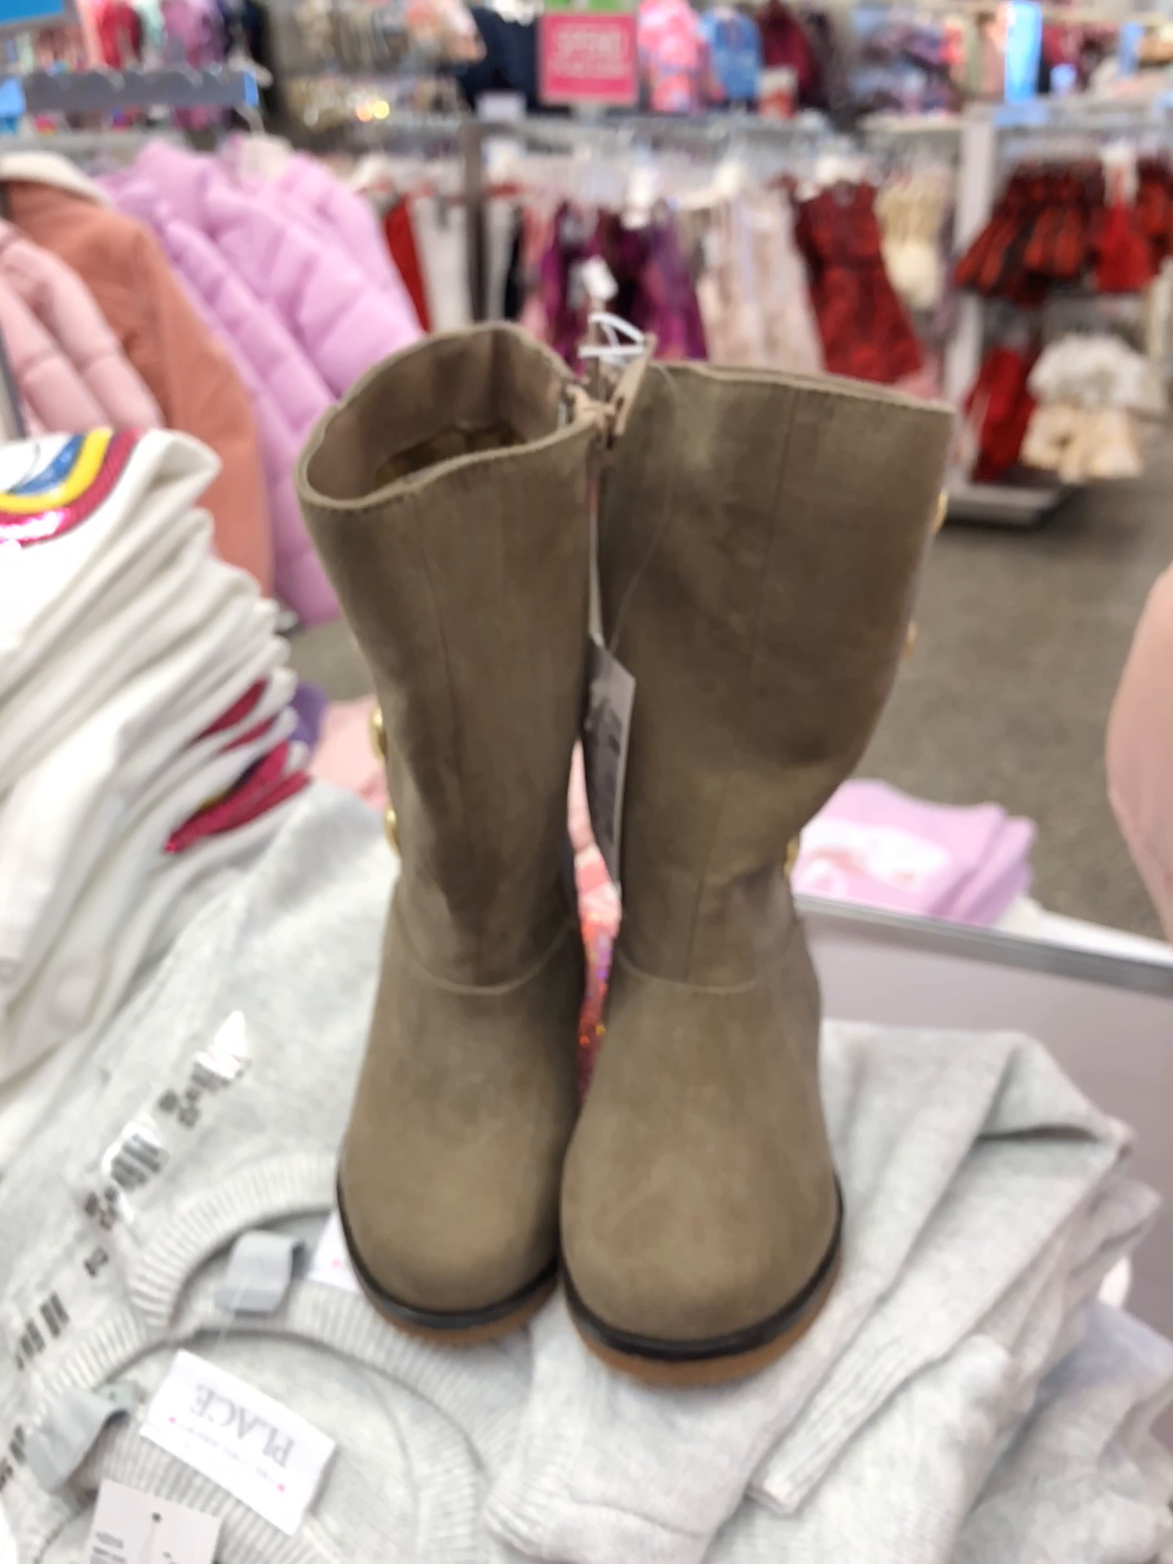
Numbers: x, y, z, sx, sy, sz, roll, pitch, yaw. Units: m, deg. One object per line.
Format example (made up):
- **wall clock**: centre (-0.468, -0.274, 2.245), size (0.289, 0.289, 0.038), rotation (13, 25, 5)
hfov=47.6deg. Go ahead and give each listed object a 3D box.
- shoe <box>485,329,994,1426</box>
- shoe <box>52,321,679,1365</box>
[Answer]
- **shoe**: centre (0.035, 0.008, 0.289), size (0.070, 0.184, 0.148), rotation (2, 26, 9)
- **shoe**: centre (-0.024, 0.007, 0.293), size (0.070, 0.164, 0.155), rotation (2, 37, 9)
